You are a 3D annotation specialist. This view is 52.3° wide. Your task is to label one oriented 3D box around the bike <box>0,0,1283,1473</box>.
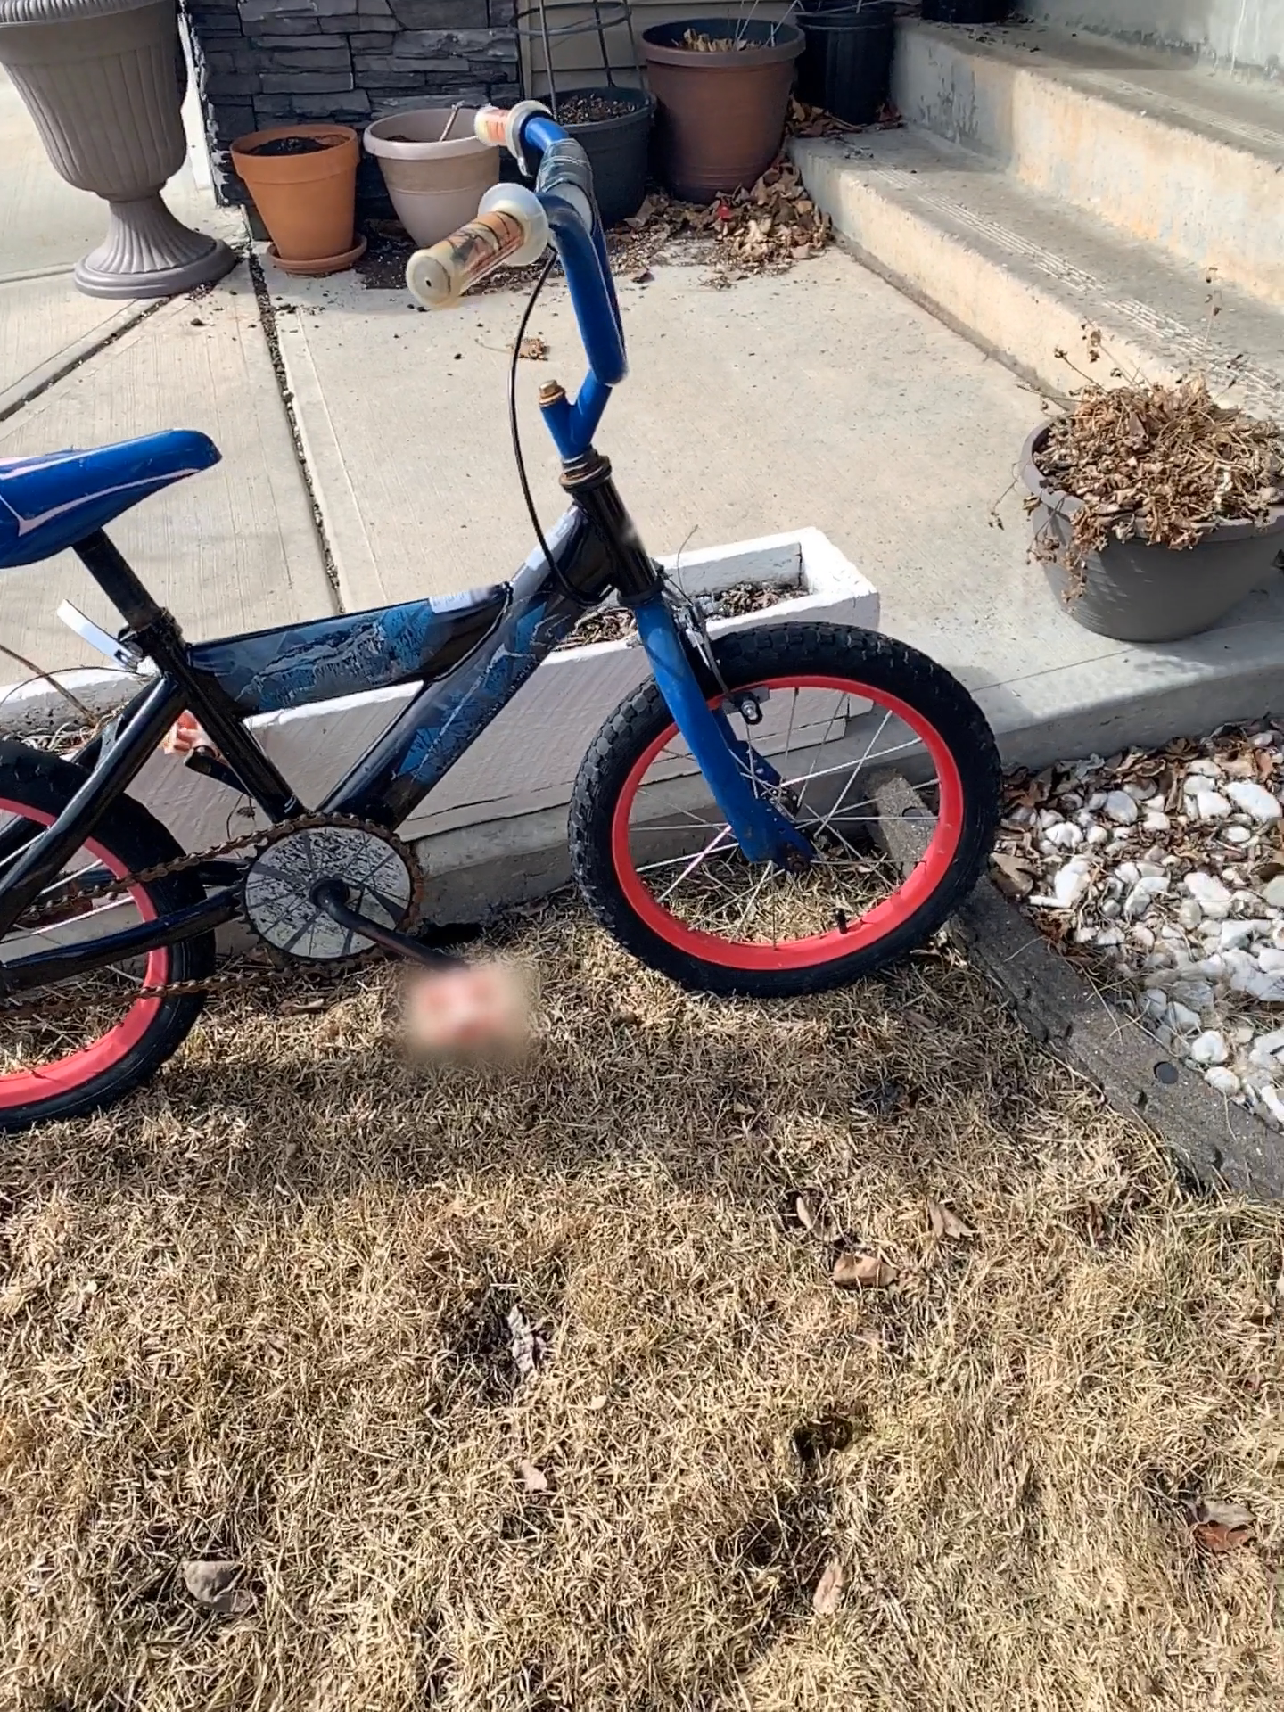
[{"bbox_3d":[-0.206,-0.116,0.873,1.023,0.728,0.538,-10,41,-4],"label":"bike"}]
